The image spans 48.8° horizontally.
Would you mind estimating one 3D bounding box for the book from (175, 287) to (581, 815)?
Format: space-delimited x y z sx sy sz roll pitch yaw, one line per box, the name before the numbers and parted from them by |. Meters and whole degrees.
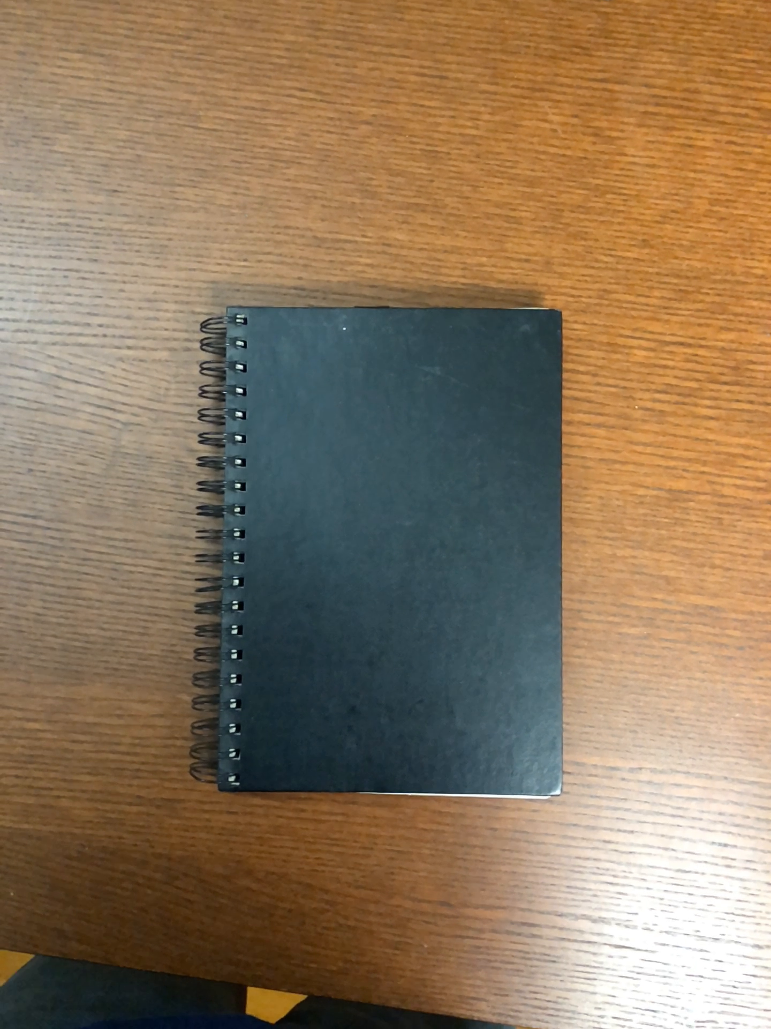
book | -0.004 0.016 0.438 0.200 0.030 0.260 0 87 2
